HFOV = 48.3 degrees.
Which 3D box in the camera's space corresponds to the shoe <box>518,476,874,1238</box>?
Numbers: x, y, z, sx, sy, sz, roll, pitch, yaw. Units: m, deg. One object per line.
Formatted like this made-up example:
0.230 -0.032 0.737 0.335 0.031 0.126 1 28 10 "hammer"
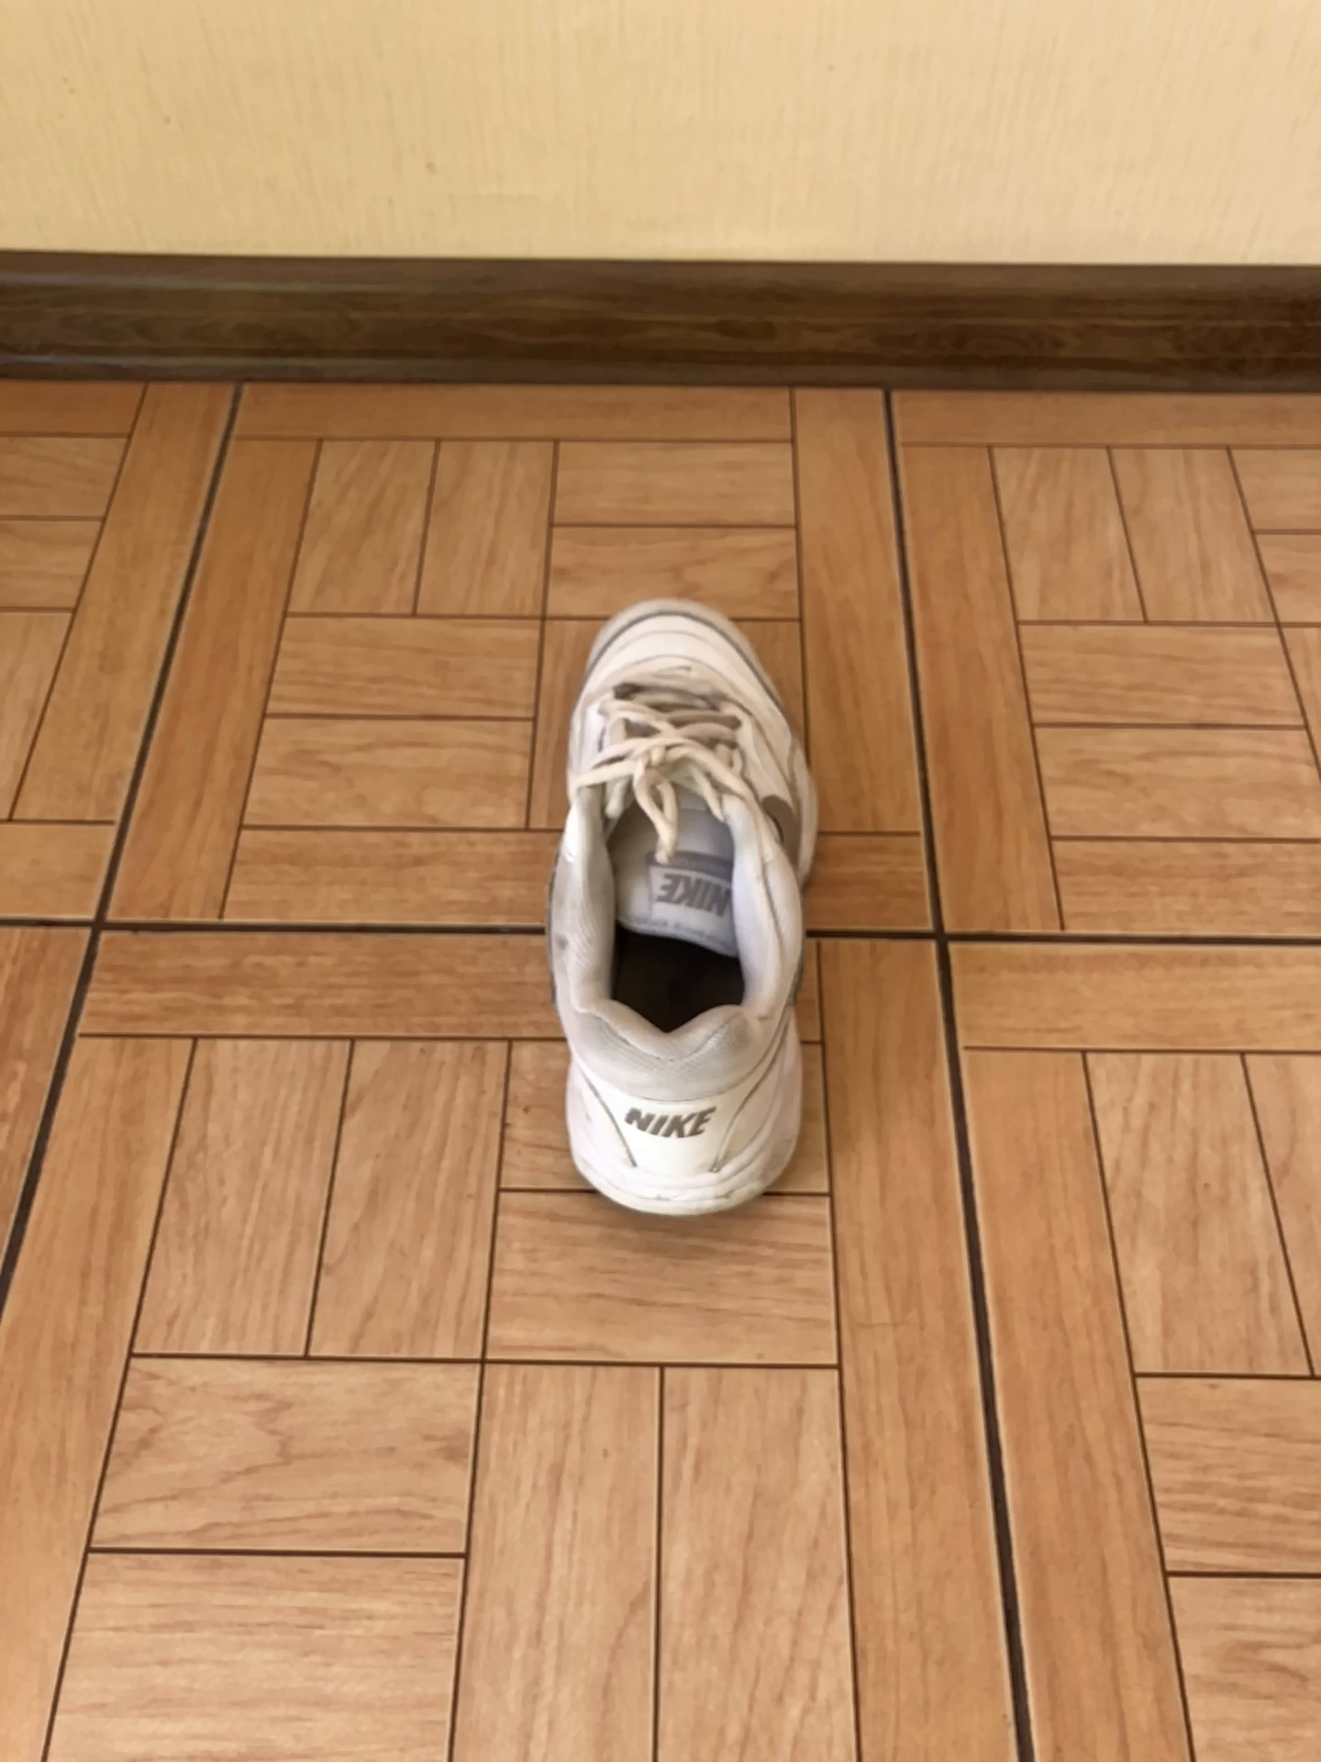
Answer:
0.011 -0.016 0.527 0.100 0.100 0.261 0 57 0 "shoe"
